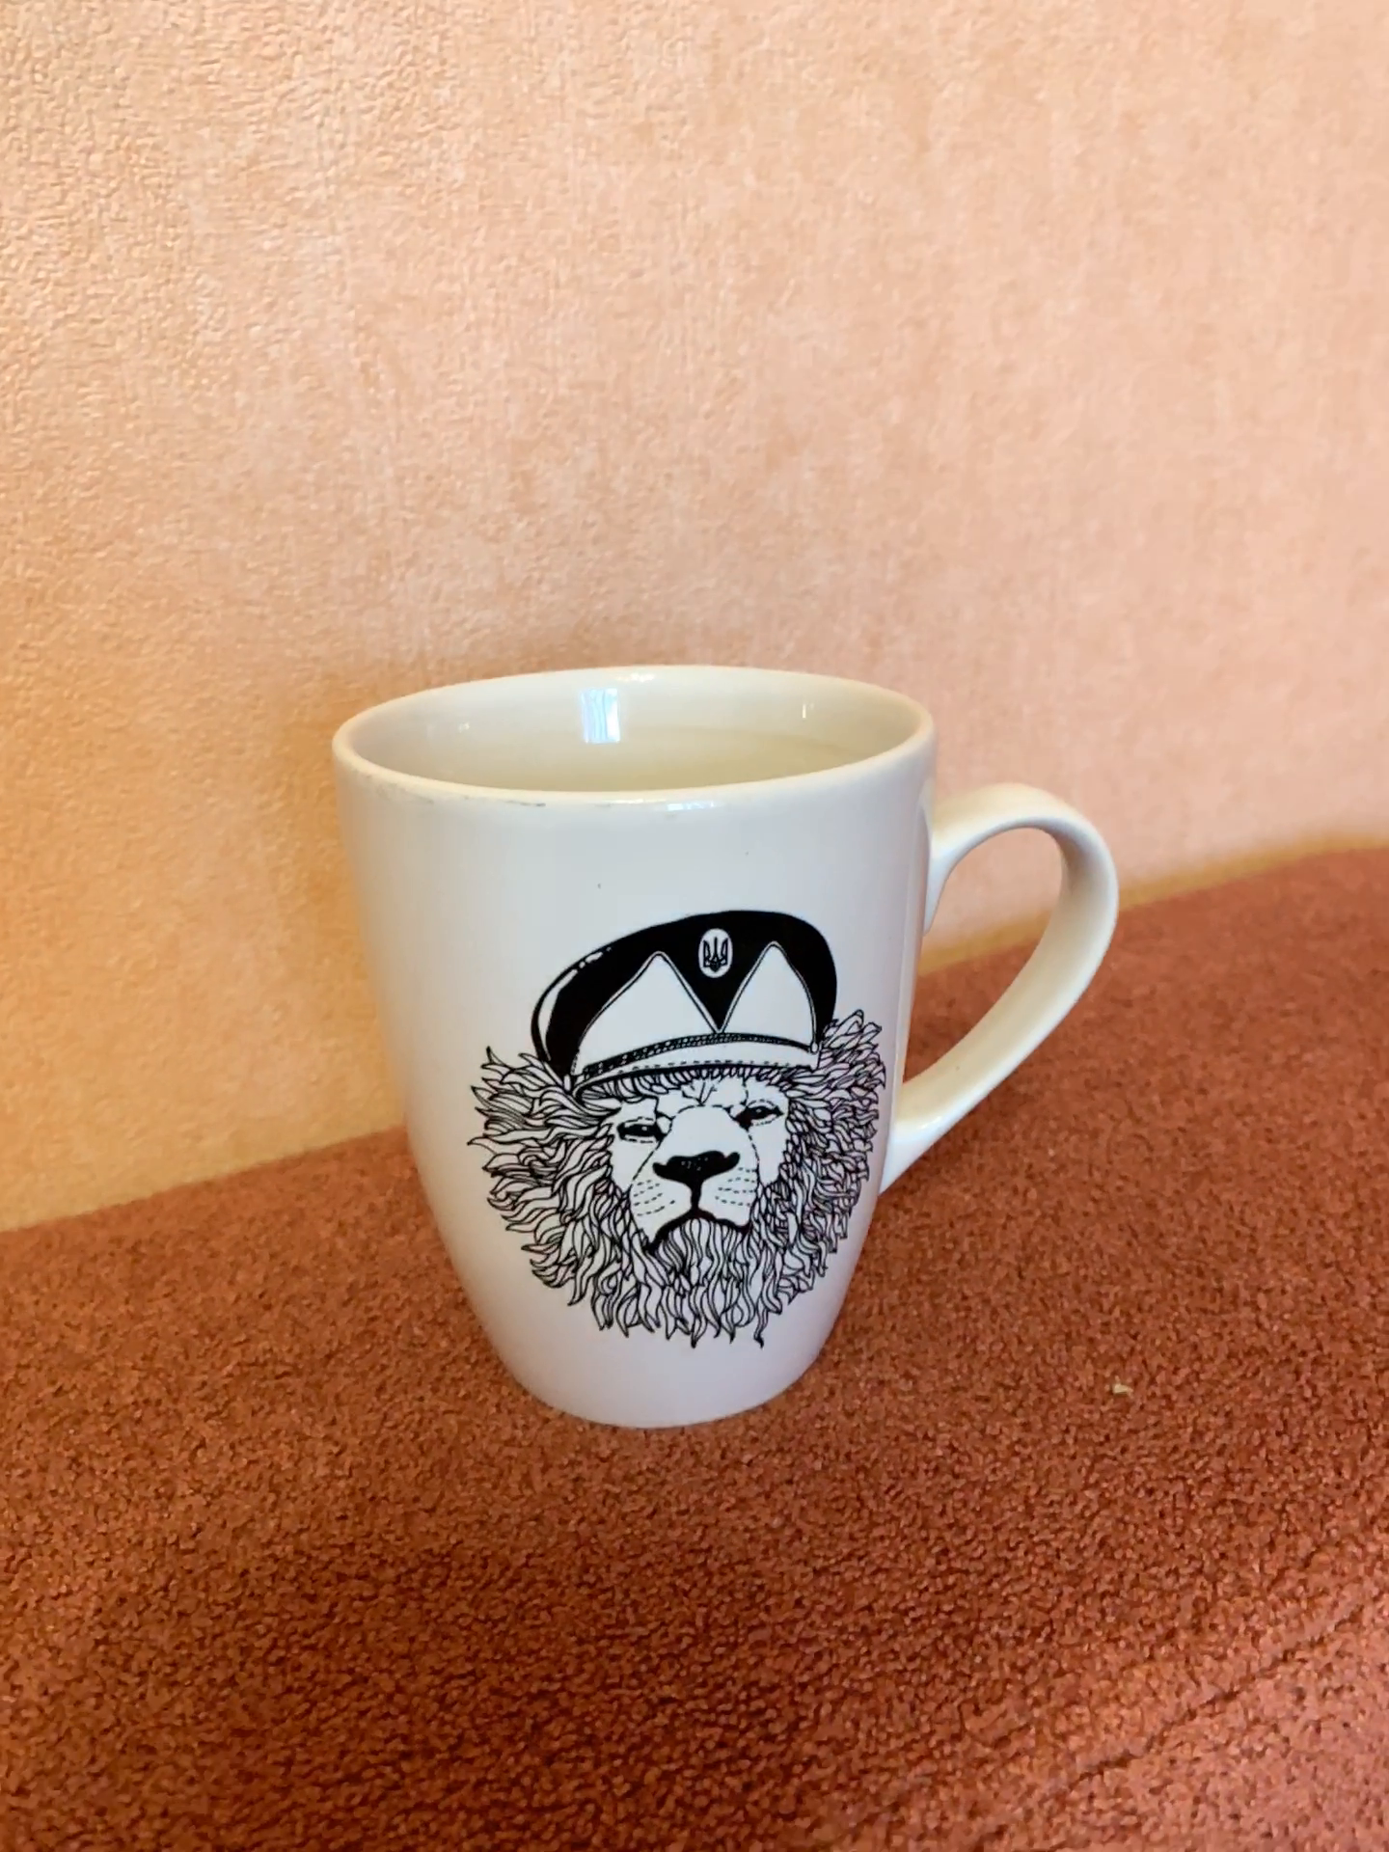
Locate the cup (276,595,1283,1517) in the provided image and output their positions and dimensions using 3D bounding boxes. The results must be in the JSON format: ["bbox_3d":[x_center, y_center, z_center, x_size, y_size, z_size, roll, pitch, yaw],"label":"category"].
[{"bbox_3d":[0.004,0.008,0.239,0.125,0.095,0.106,-8,23,-12],"label":"cup"}]
